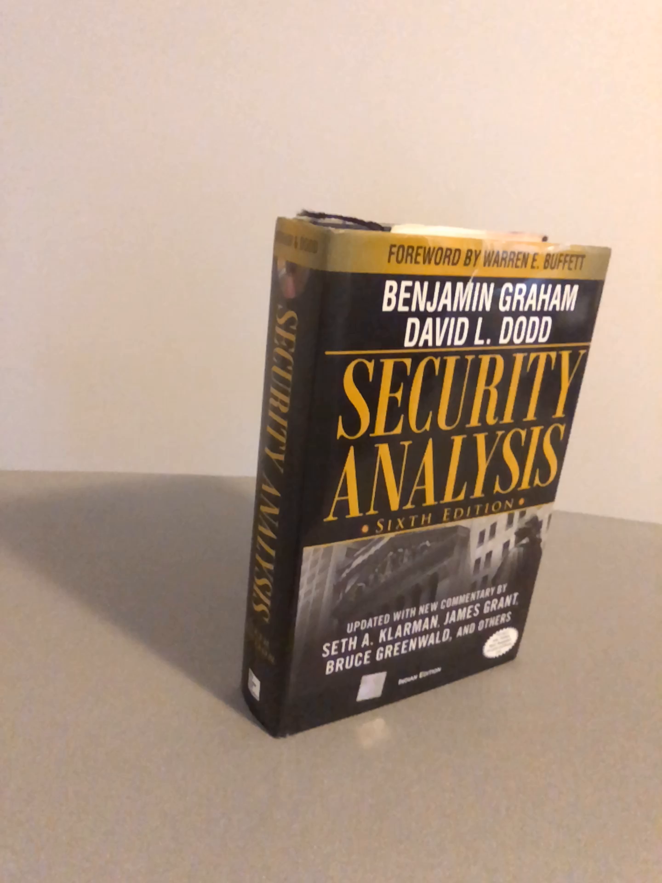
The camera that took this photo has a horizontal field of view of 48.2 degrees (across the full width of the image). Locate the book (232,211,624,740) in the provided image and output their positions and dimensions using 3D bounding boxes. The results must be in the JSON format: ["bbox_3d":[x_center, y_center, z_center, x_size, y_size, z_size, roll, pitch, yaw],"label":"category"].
[{"bbox_3d":[0.043,0.014,0.363,0.164,0.231,0.047,-6,23,-30],"label":"book"}]
